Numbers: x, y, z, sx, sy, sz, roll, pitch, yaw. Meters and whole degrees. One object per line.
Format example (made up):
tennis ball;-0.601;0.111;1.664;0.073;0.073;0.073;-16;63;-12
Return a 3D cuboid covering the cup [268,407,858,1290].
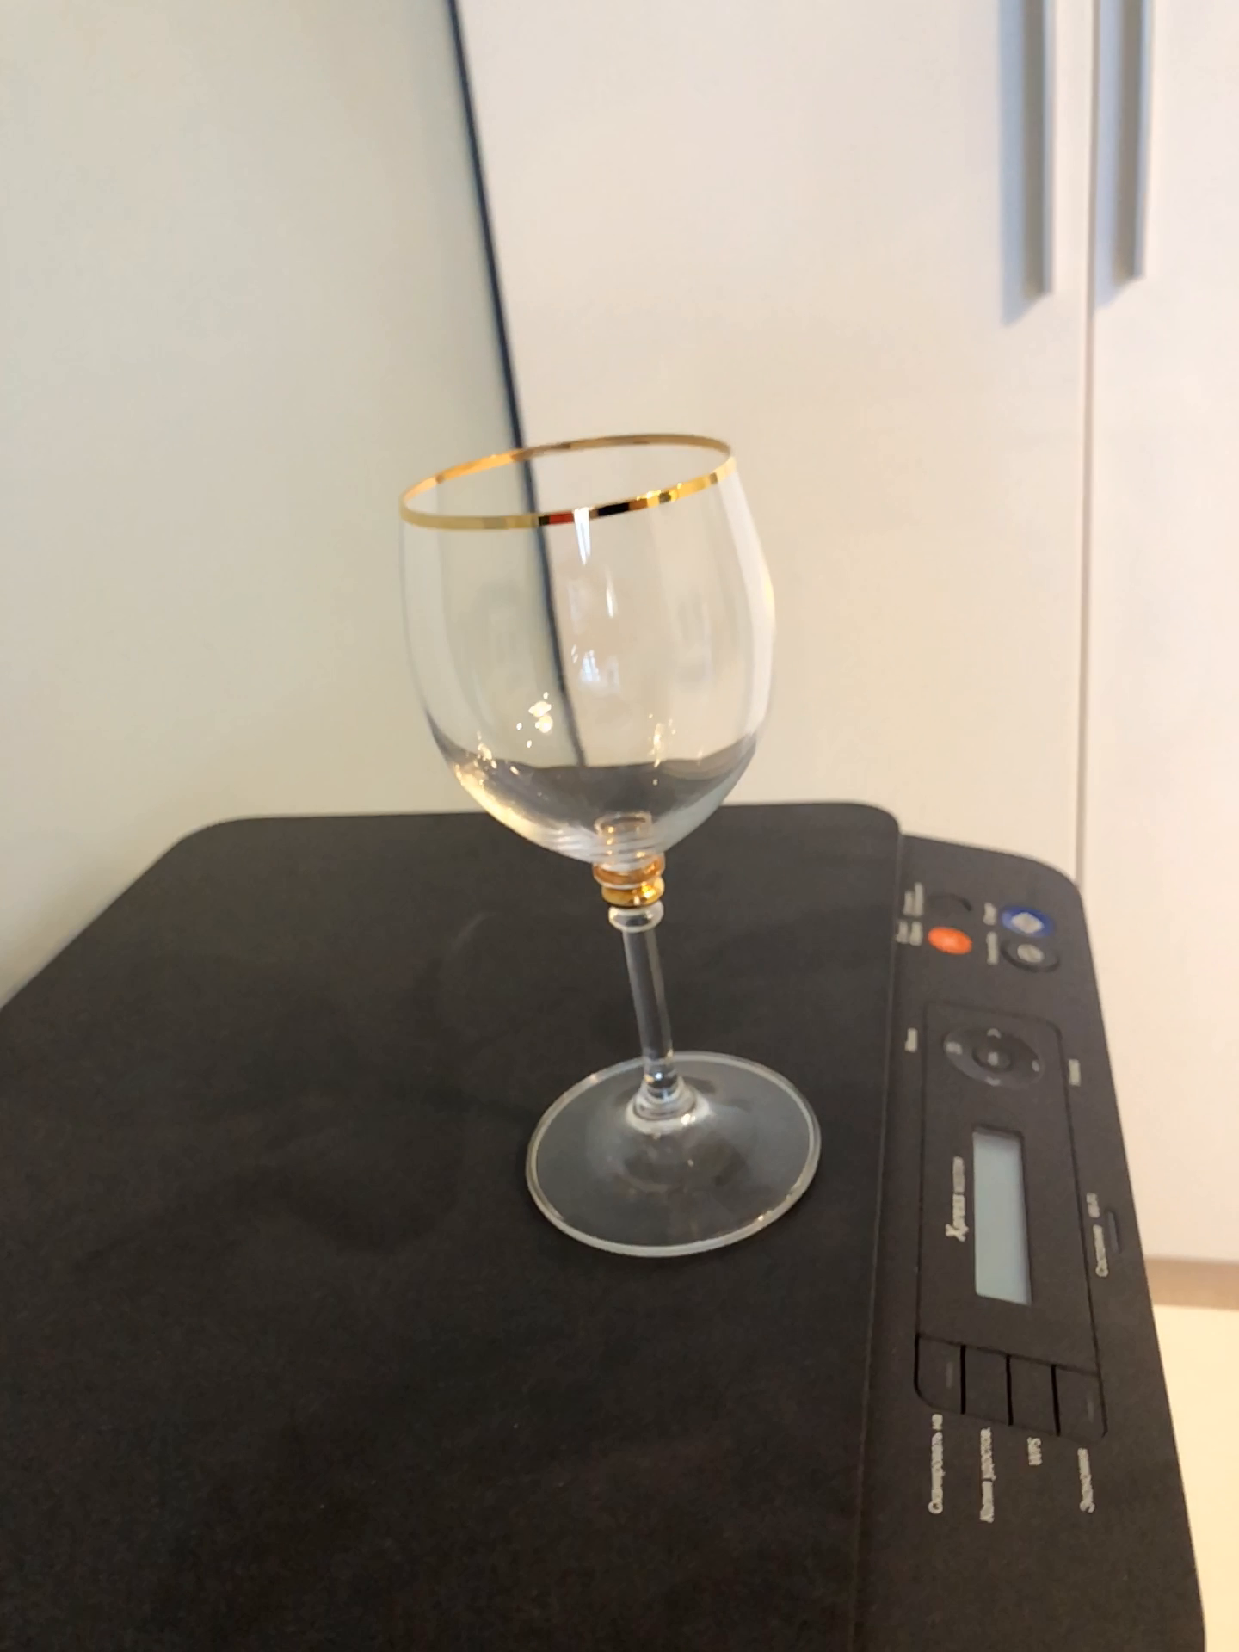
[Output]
cup;0.000;0.006;0.322;0.086;0.177;0.087;-8;25;4
